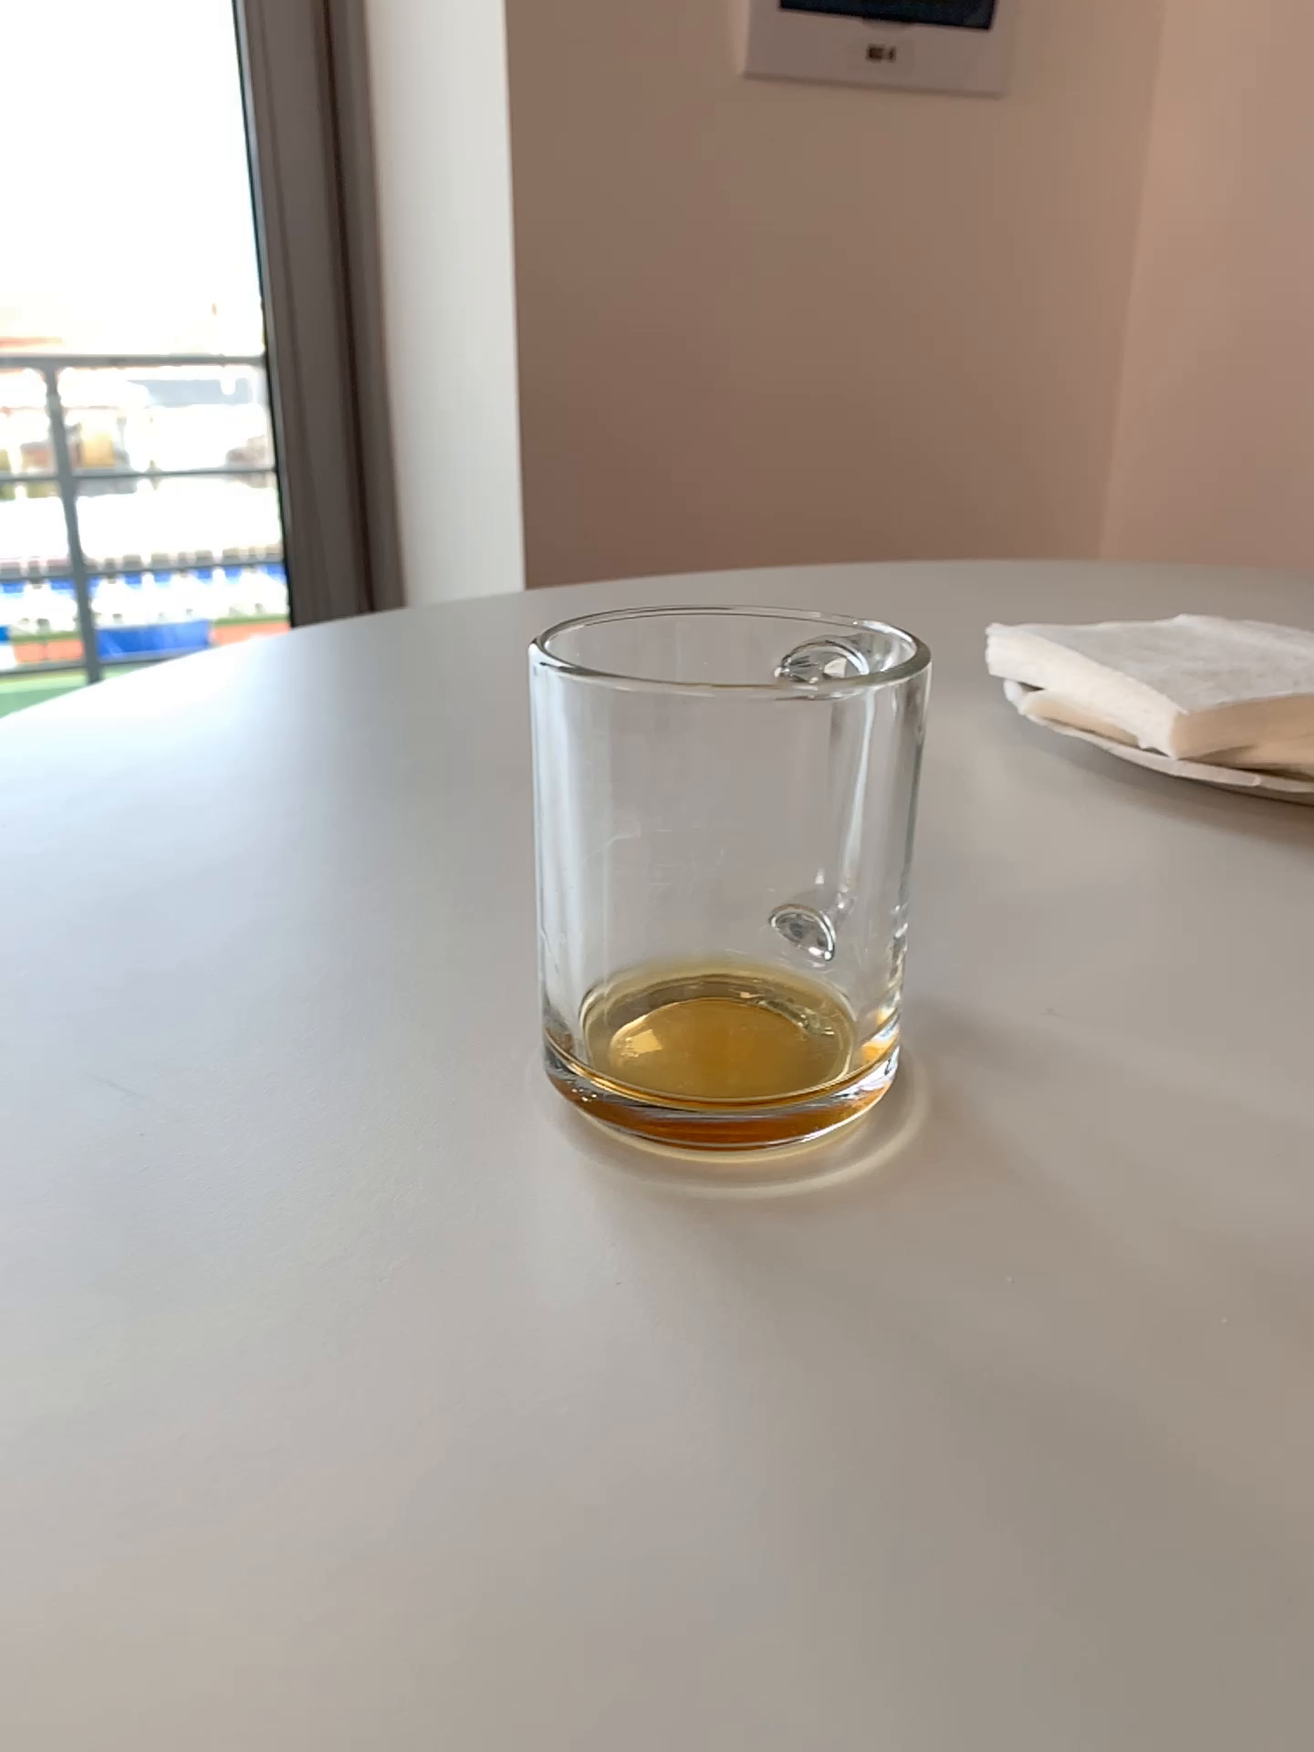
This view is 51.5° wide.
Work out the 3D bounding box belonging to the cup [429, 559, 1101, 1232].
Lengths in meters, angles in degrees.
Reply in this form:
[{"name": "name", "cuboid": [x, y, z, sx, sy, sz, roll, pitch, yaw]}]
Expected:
[{"name": "cup", "cuboid": [0.023, -0.007, 0.272, 0.082, 0.091, 0.102, 17, 27, 37]}]
